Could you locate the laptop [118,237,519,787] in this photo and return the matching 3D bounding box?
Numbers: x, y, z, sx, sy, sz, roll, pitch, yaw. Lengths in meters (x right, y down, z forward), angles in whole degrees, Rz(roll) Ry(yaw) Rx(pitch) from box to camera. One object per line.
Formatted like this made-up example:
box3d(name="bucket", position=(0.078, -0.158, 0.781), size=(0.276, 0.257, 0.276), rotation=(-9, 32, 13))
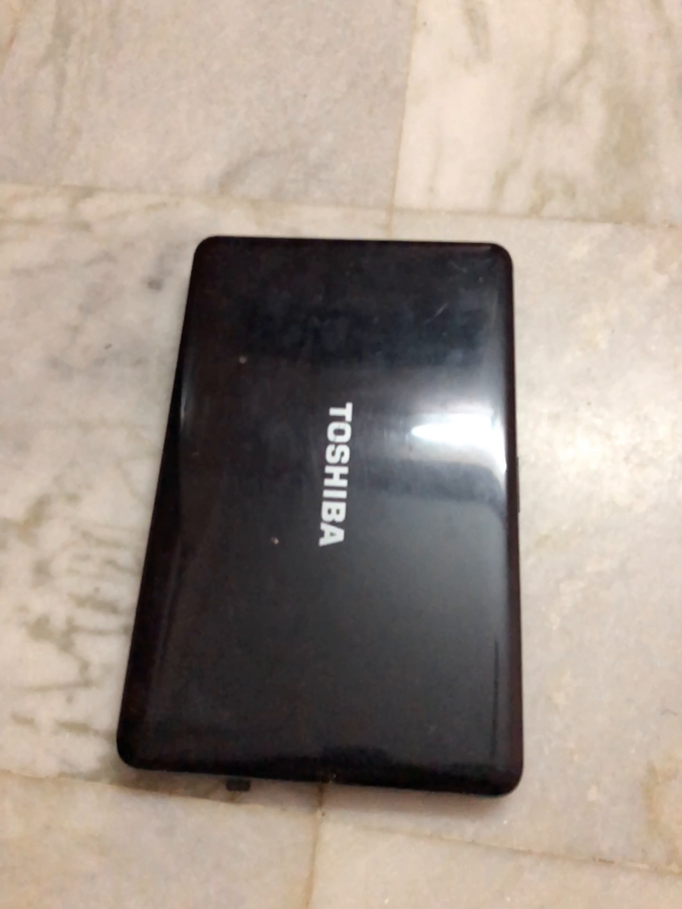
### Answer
box3d(name="laptop", position=(-0.002, 0.012, 0.490), size=(0.224, 0.004, 0.360), rotation=(3, 69, 3))
